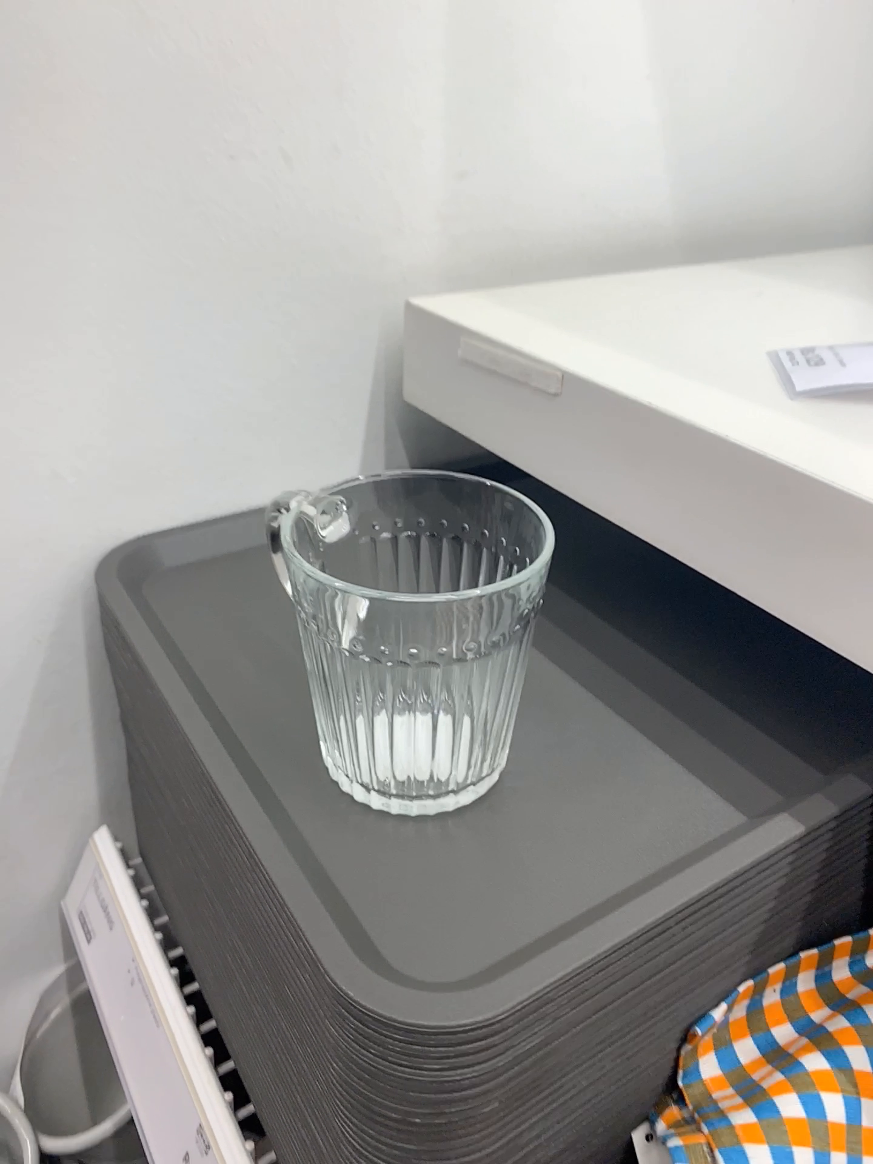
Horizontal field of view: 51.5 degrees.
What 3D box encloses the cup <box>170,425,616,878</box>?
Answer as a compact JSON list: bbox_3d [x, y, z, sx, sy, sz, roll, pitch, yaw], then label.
[{"bbox_3d":[-0.017,0.012,0.287,0.080,0.080,0.110,-22,38,-36],"label":"cup"}]
